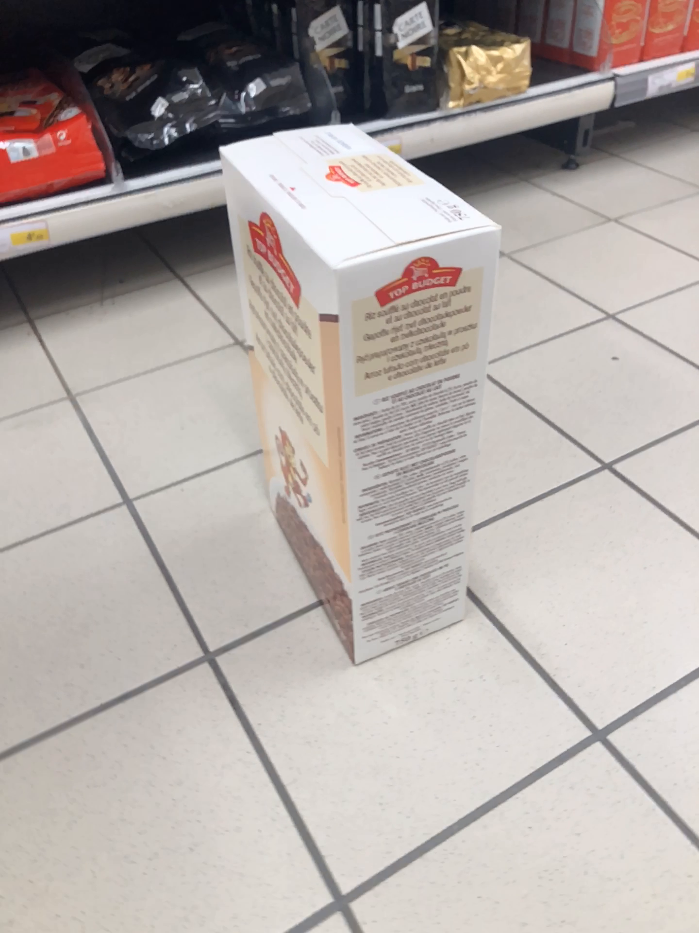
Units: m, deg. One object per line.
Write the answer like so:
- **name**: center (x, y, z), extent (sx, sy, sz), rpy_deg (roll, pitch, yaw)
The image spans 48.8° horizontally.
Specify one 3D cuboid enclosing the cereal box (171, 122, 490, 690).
- **cereal box**: center (-0.016, -0.038, 0.541), extent (0.110, 0.318, 0.211), rpy_deg (-17, 42, -16)
